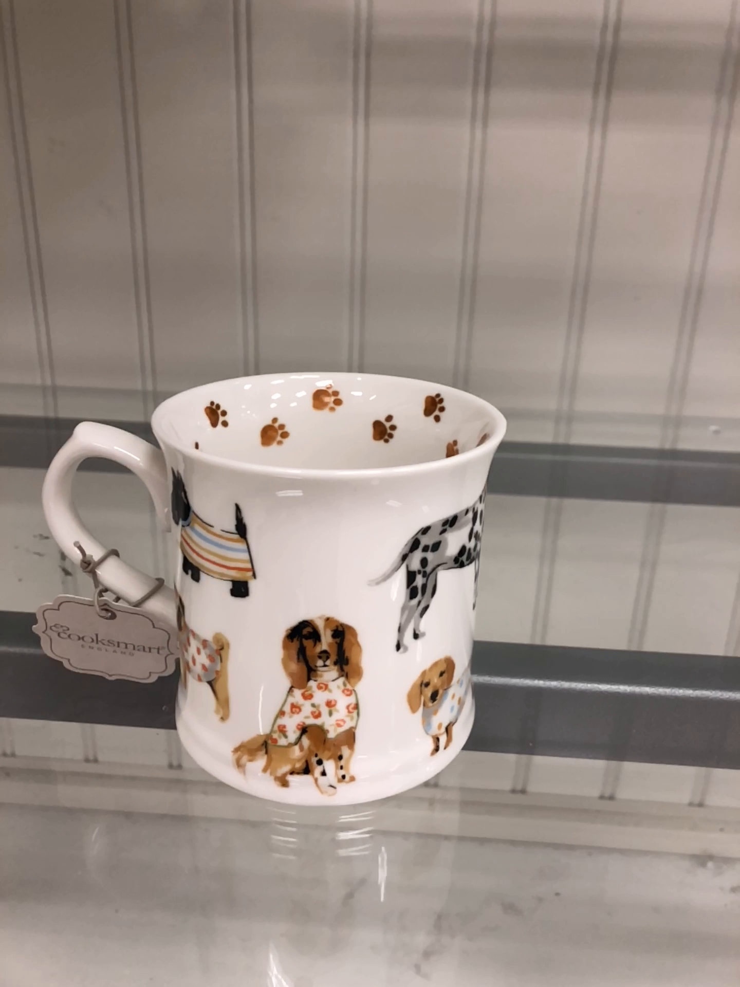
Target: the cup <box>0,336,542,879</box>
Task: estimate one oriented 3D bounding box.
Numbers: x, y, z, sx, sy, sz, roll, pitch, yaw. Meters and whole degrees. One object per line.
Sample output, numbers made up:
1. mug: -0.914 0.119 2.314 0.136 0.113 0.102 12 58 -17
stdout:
1. cup: -0.025 0.016 0.222 0.125 0.089 0.101 7 22 14
